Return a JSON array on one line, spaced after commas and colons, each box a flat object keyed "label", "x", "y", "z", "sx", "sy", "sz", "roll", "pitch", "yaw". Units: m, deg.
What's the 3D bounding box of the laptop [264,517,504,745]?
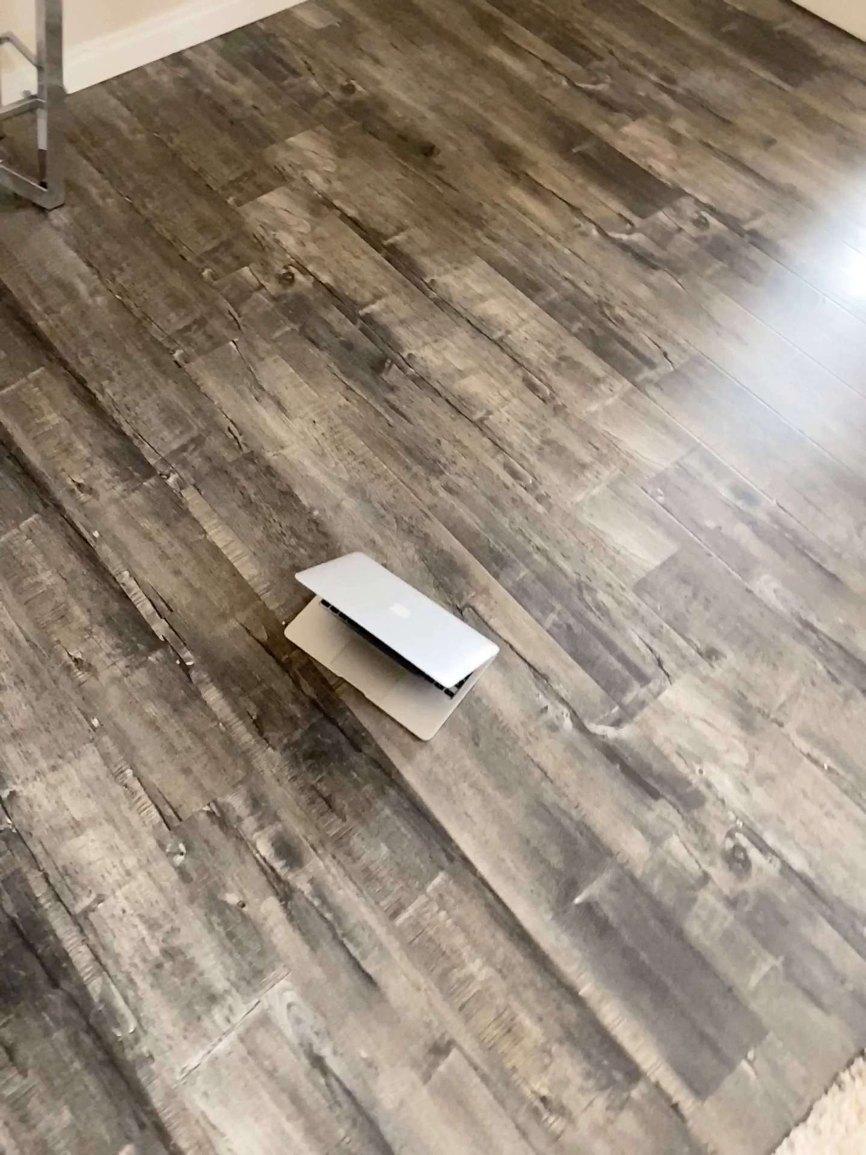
[{"label": "laptop", "x": -0.067, "y": 0.072, "z": 1.233, "sx": 0.270, "sy": 0.113, "sz": 0.173, "roll": 34, "pitch": 63, "yaw": 16}]
